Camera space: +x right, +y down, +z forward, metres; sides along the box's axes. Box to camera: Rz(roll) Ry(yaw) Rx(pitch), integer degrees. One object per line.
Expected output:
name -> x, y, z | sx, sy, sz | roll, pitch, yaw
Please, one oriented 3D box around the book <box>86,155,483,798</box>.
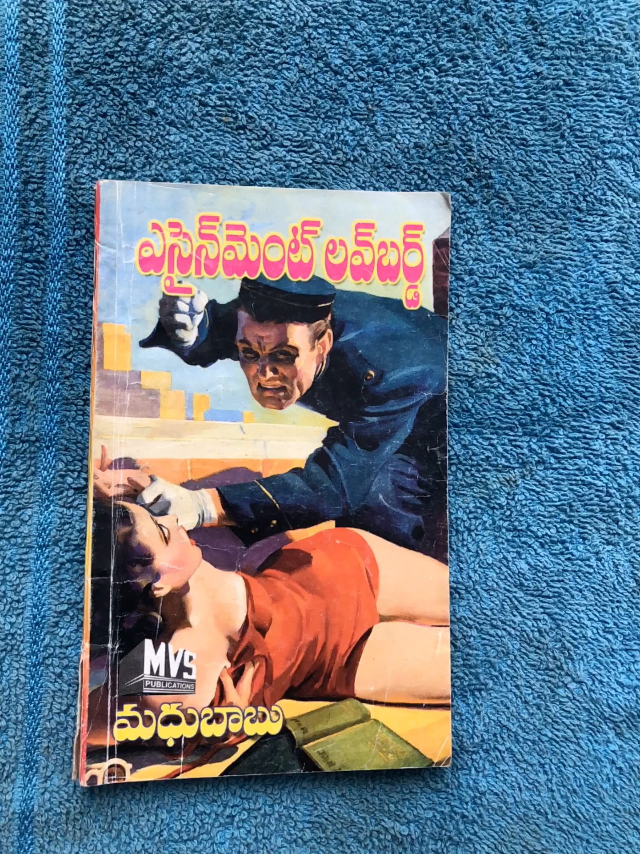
book -> -0.008, 0.012, 0.200 | 0.100, 0.030, 0.160 | 1, 86, -8
